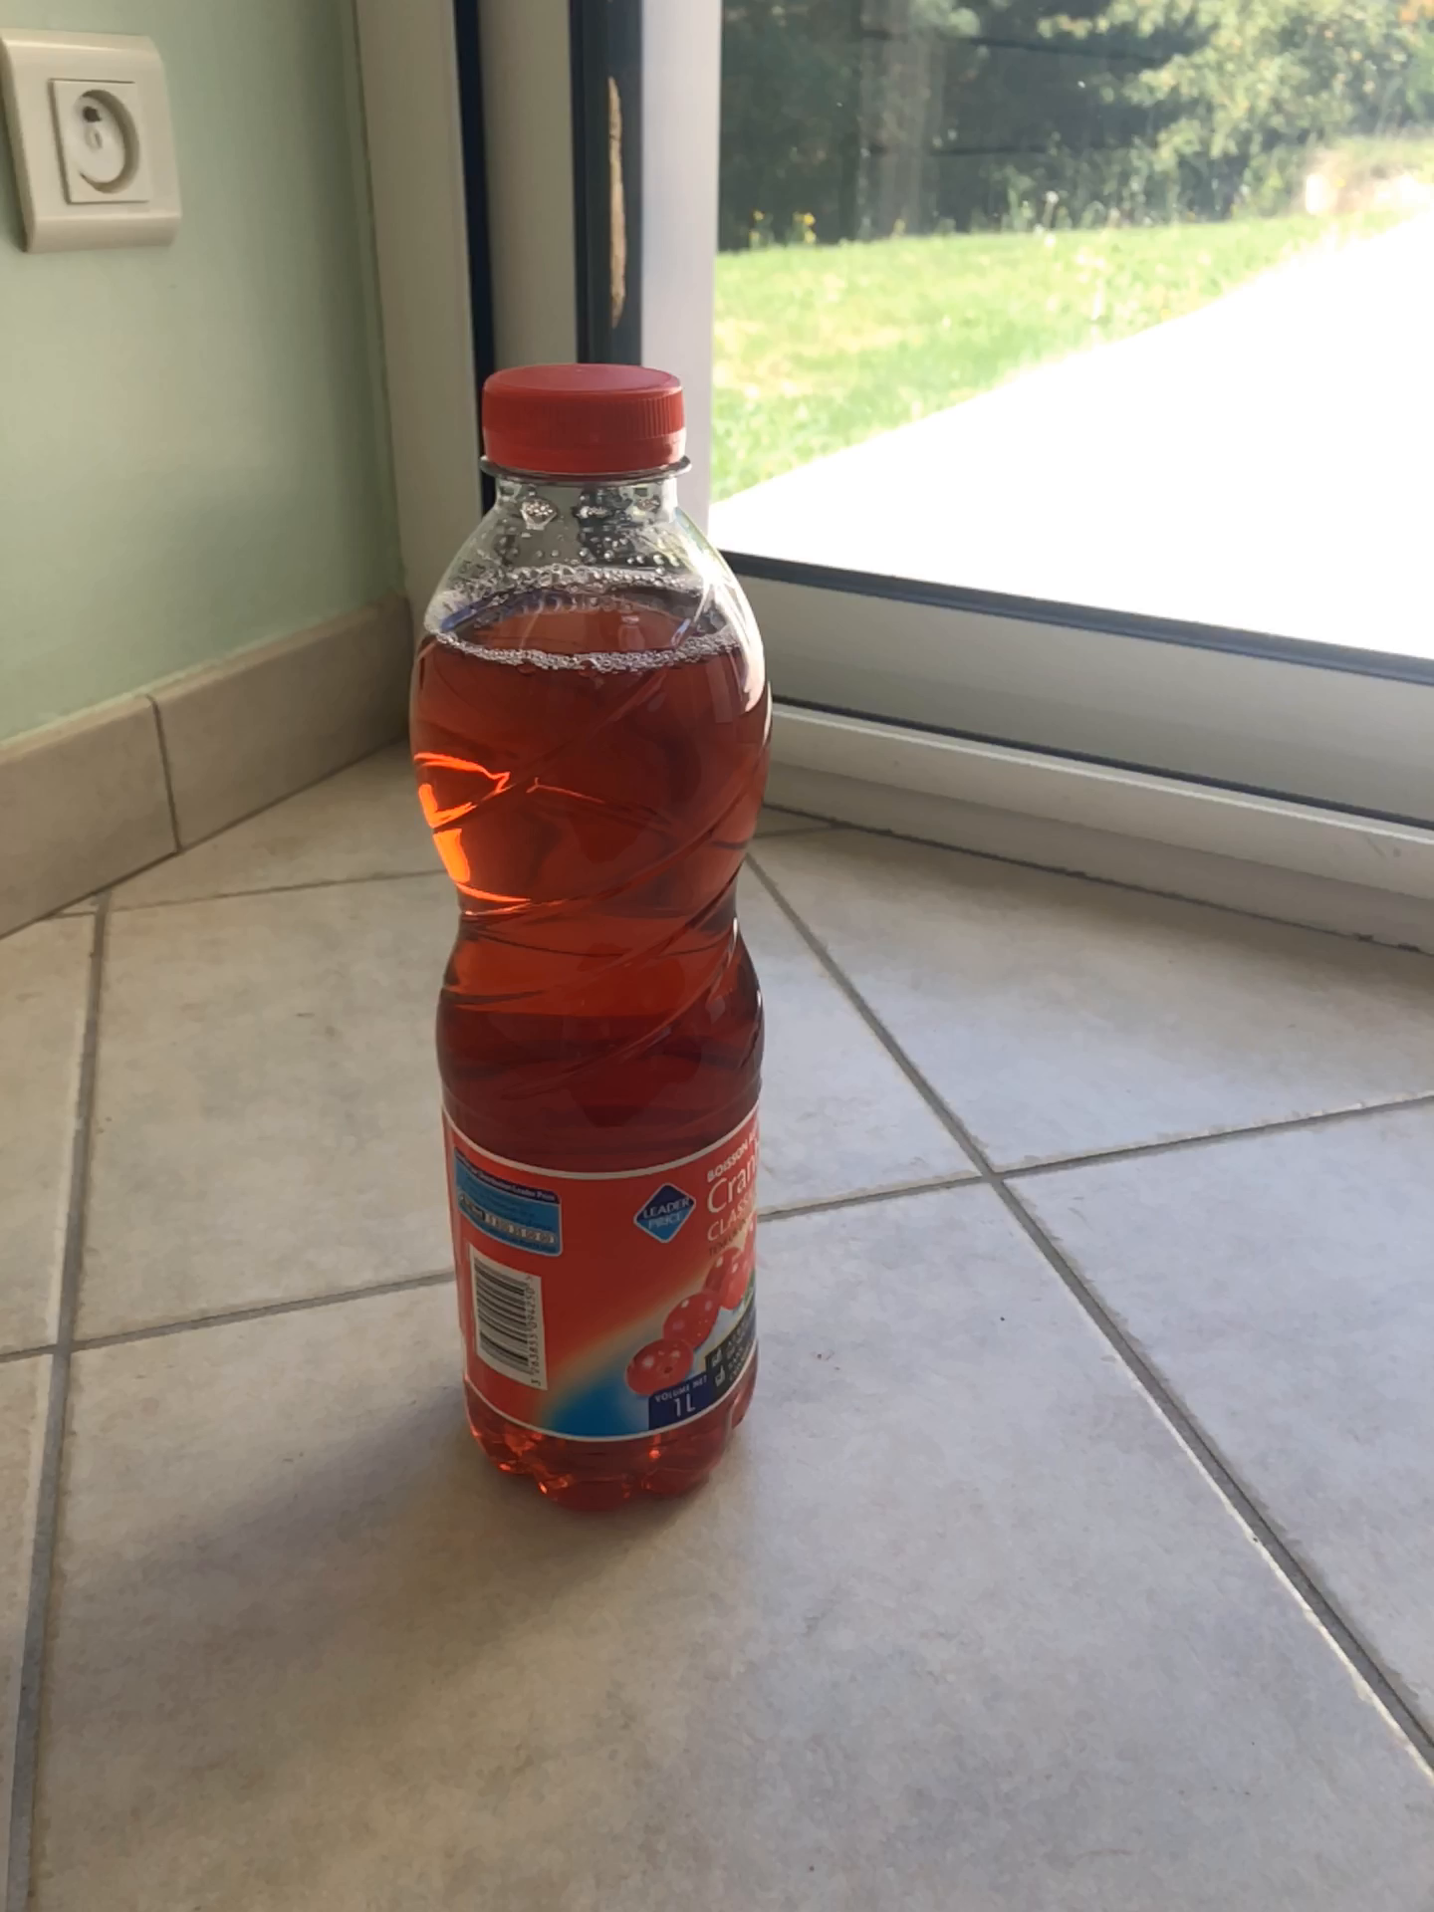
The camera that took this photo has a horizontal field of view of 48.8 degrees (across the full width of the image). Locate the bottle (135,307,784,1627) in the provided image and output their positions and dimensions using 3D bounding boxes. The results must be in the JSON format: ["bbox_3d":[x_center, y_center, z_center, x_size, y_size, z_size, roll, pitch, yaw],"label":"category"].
[{"bbox_3d":[-0.042,0.007,0.339,0.080,0.259,0.091,10,29,17],"label":"bottle"}]
